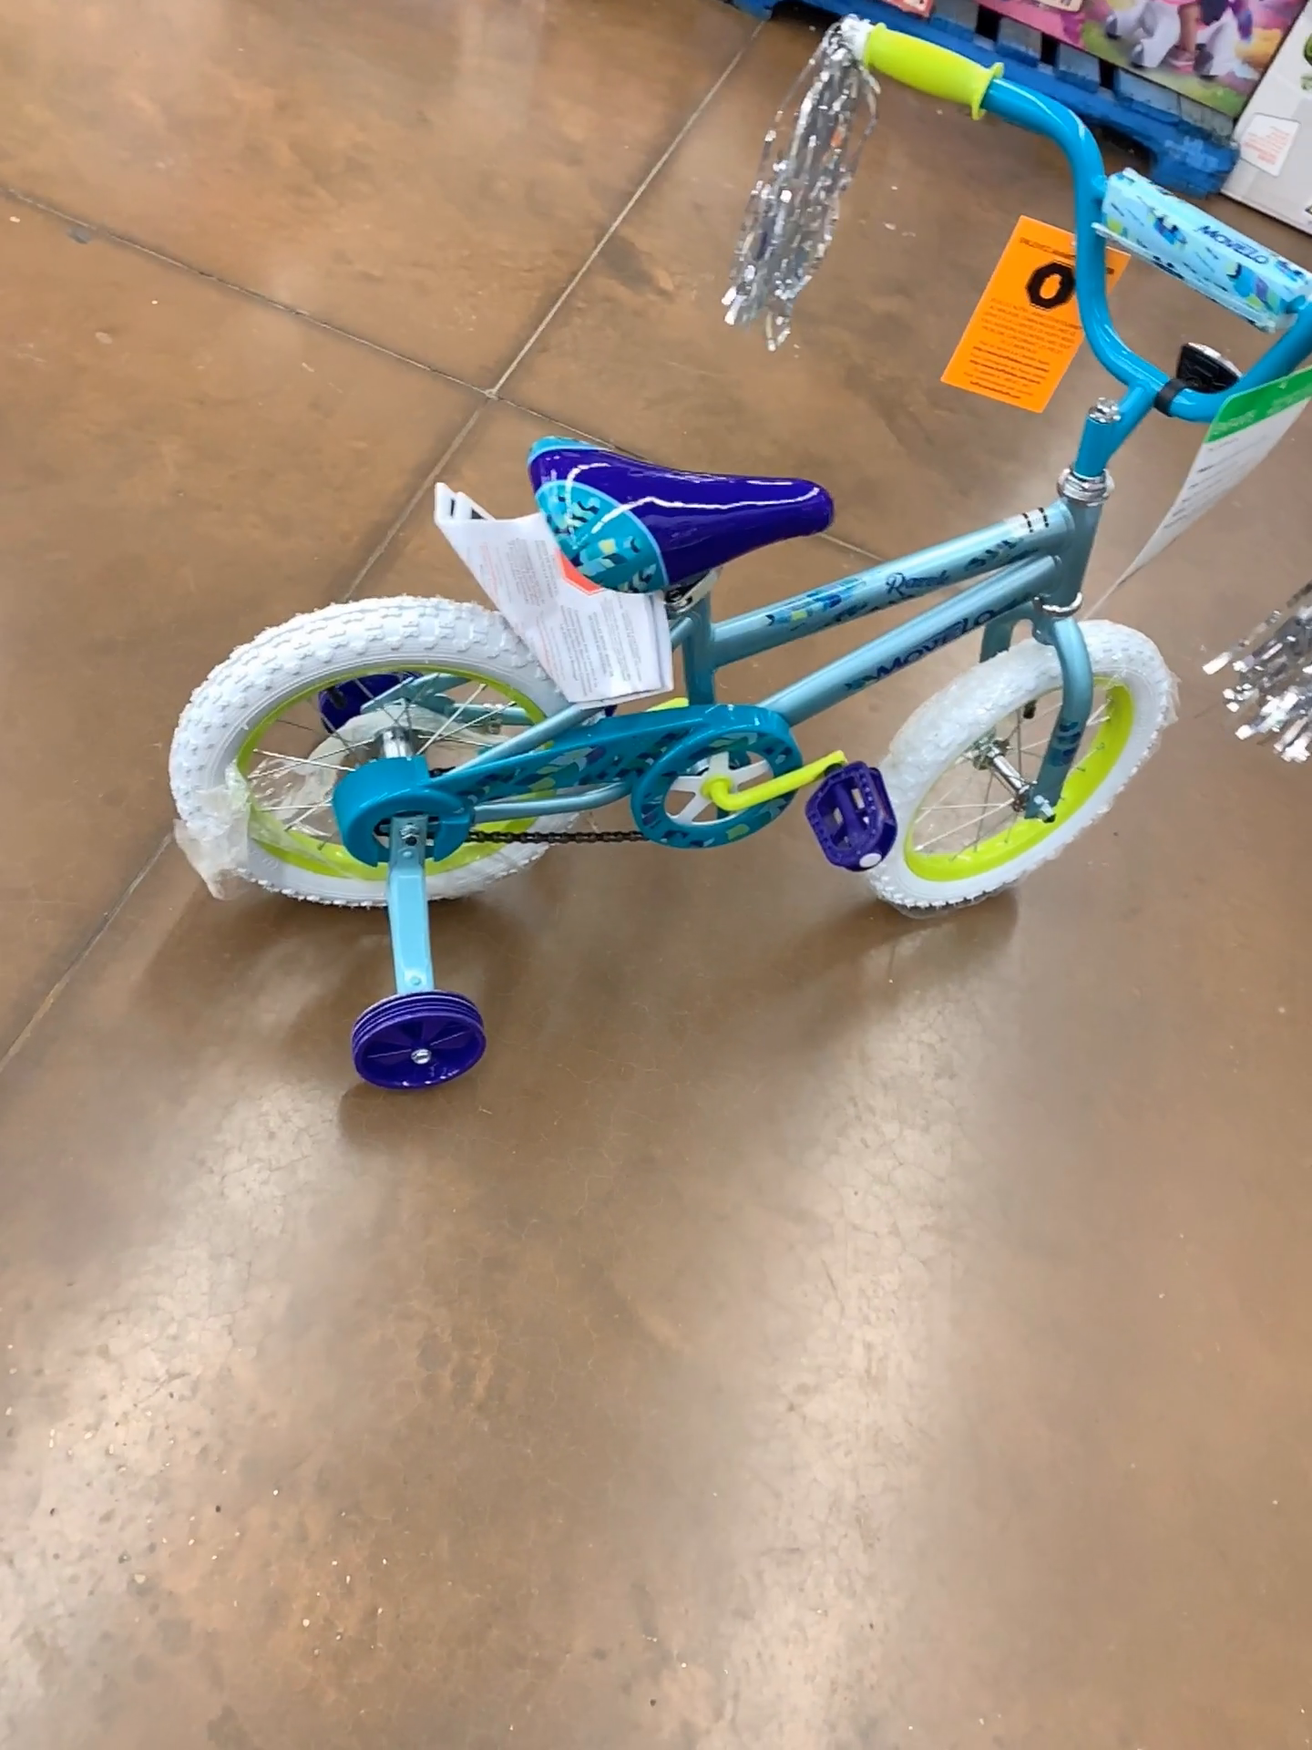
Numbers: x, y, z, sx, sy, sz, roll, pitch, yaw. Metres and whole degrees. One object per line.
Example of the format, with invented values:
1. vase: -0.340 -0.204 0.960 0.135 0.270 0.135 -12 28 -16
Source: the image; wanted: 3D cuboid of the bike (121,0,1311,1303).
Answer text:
1. bike: 0.125 -0.194 0.978 0.860 0.639 0.624 -6 54 -25
